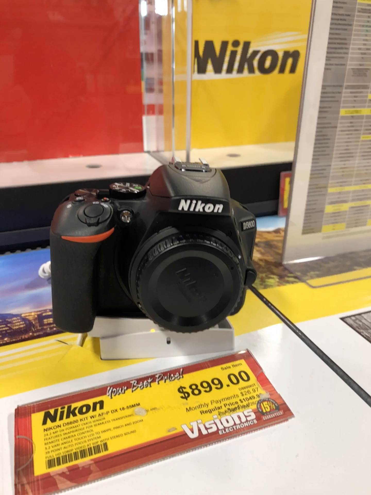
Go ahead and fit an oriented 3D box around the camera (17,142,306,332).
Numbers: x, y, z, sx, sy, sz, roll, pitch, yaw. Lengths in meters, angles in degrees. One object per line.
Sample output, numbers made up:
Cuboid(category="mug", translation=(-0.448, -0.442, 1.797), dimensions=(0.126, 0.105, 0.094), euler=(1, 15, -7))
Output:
Cuboid(category="camera", translation=(-0.016, -0.010, 0.253), dimensions=(0.140, 0.090, 0.080), euler=(2, 21, -6))
